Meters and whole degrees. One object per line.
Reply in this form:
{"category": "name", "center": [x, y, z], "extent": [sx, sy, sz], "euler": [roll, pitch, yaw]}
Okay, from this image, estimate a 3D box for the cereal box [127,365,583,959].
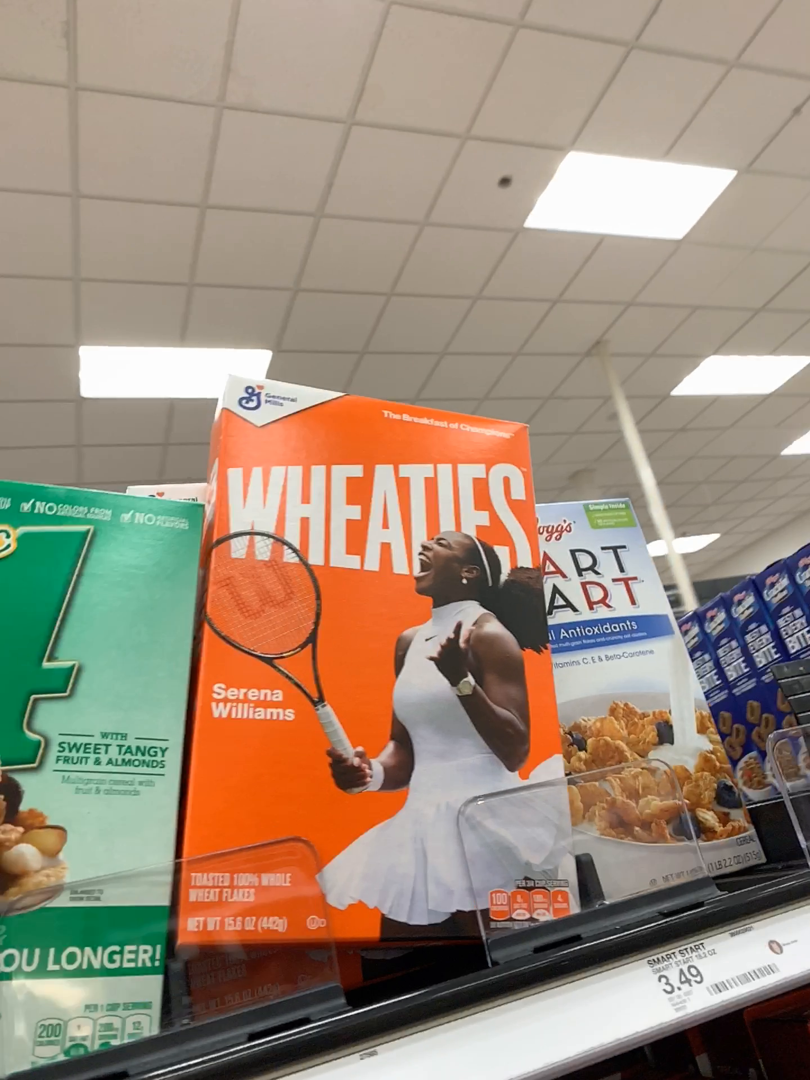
{"category": "cereal box", "center": [-0.027, 0.061, 0.452], "extent": [0.200, 0.292, 0.070], "euler": [7, -27, -16]}
